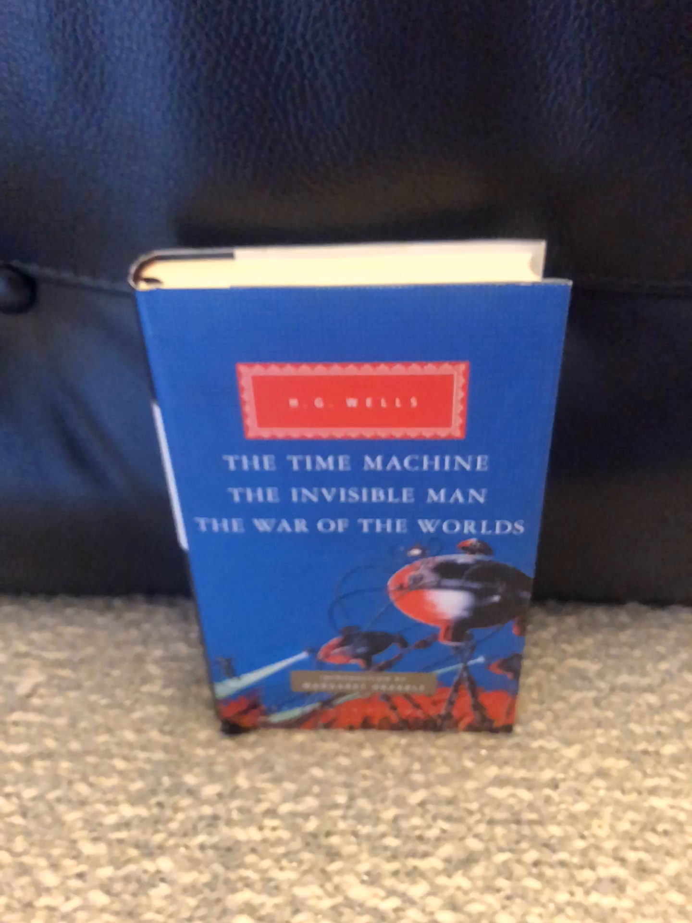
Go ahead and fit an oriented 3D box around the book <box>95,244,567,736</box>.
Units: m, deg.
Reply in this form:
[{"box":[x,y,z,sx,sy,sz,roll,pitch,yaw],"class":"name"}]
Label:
[{"box":[-0.001,0.028,0.323,0.148,0.225,0.034,-1,35,3],"class":"book"}]
